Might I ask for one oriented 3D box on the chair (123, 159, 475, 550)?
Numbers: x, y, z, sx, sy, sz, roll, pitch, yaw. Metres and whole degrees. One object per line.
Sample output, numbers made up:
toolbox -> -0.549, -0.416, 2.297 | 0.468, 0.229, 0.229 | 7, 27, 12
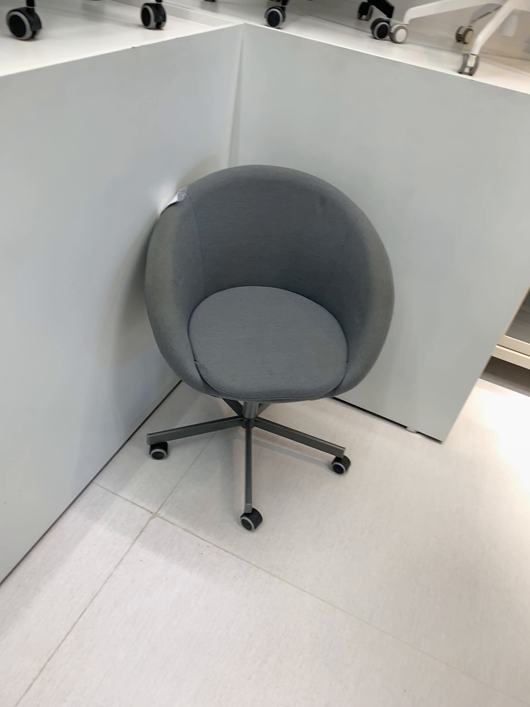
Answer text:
chair -> -0.031, -0.038, 1.646 | 0.721, 0.767, 0.833 | -3, 41, -16
